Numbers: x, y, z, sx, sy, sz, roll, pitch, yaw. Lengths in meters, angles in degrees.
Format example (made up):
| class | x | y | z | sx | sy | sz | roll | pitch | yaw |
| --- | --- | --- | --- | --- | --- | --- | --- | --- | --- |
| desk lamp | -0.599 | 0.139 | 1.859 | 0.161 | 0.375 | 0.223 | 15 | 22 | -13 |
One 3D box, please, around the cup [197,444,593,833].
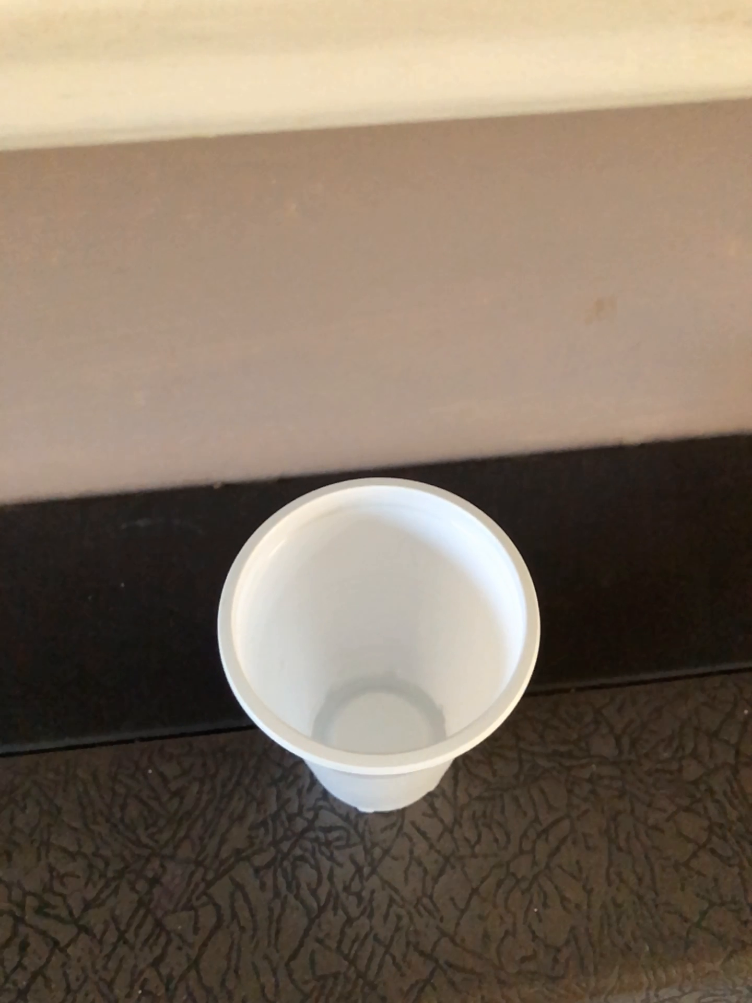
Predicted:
| class | x | y | z | sx | sy | sz | roll | pitch | yaw |
| --- | --- | --- | --- | --- | --- | --- | --- | --- | --- |
| cup | 0.003 | 0.038 | 0.219 | 0.079 | 0.073 | 0.073 | -1 | 57 | 1 |
